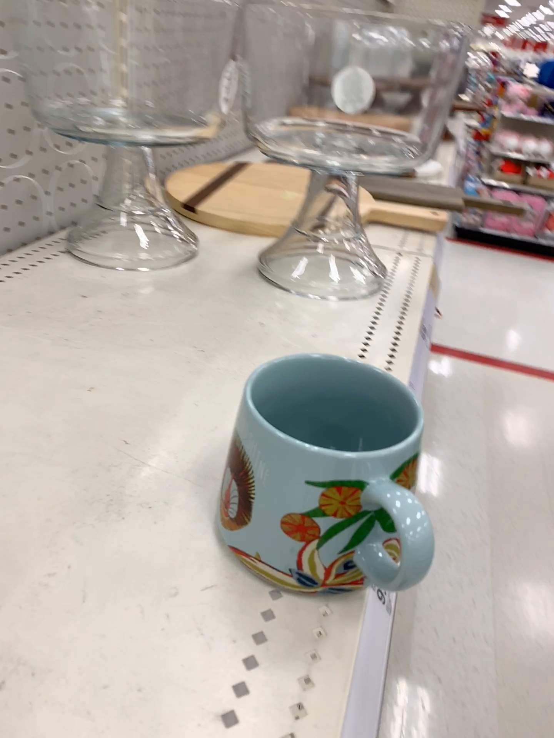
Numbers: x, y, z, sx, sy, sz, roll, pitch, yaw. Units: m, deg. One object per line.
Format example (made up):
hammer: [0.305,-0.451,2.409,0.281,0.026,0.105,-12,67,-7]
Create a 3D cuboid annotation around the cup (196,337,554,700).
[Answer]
cup: [0.036,0.060,0.293,0.120,0.090,0.141,-5,33,-21]
